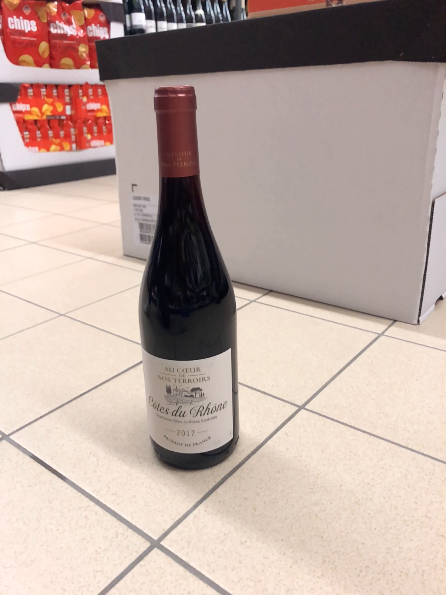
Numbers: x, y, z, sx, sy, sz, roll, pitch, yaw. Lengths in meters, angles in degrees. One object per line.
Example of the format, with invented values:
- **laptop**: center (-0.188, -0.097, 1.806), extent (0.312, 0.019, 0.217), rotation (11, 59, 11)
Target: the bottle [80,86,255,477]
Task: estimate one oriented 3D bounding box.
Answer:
- **bottle**: center (-0.027, -0.010, 0.370), extent (0.090, 0.269, 0.091), rotation (-2, 21, 1)
